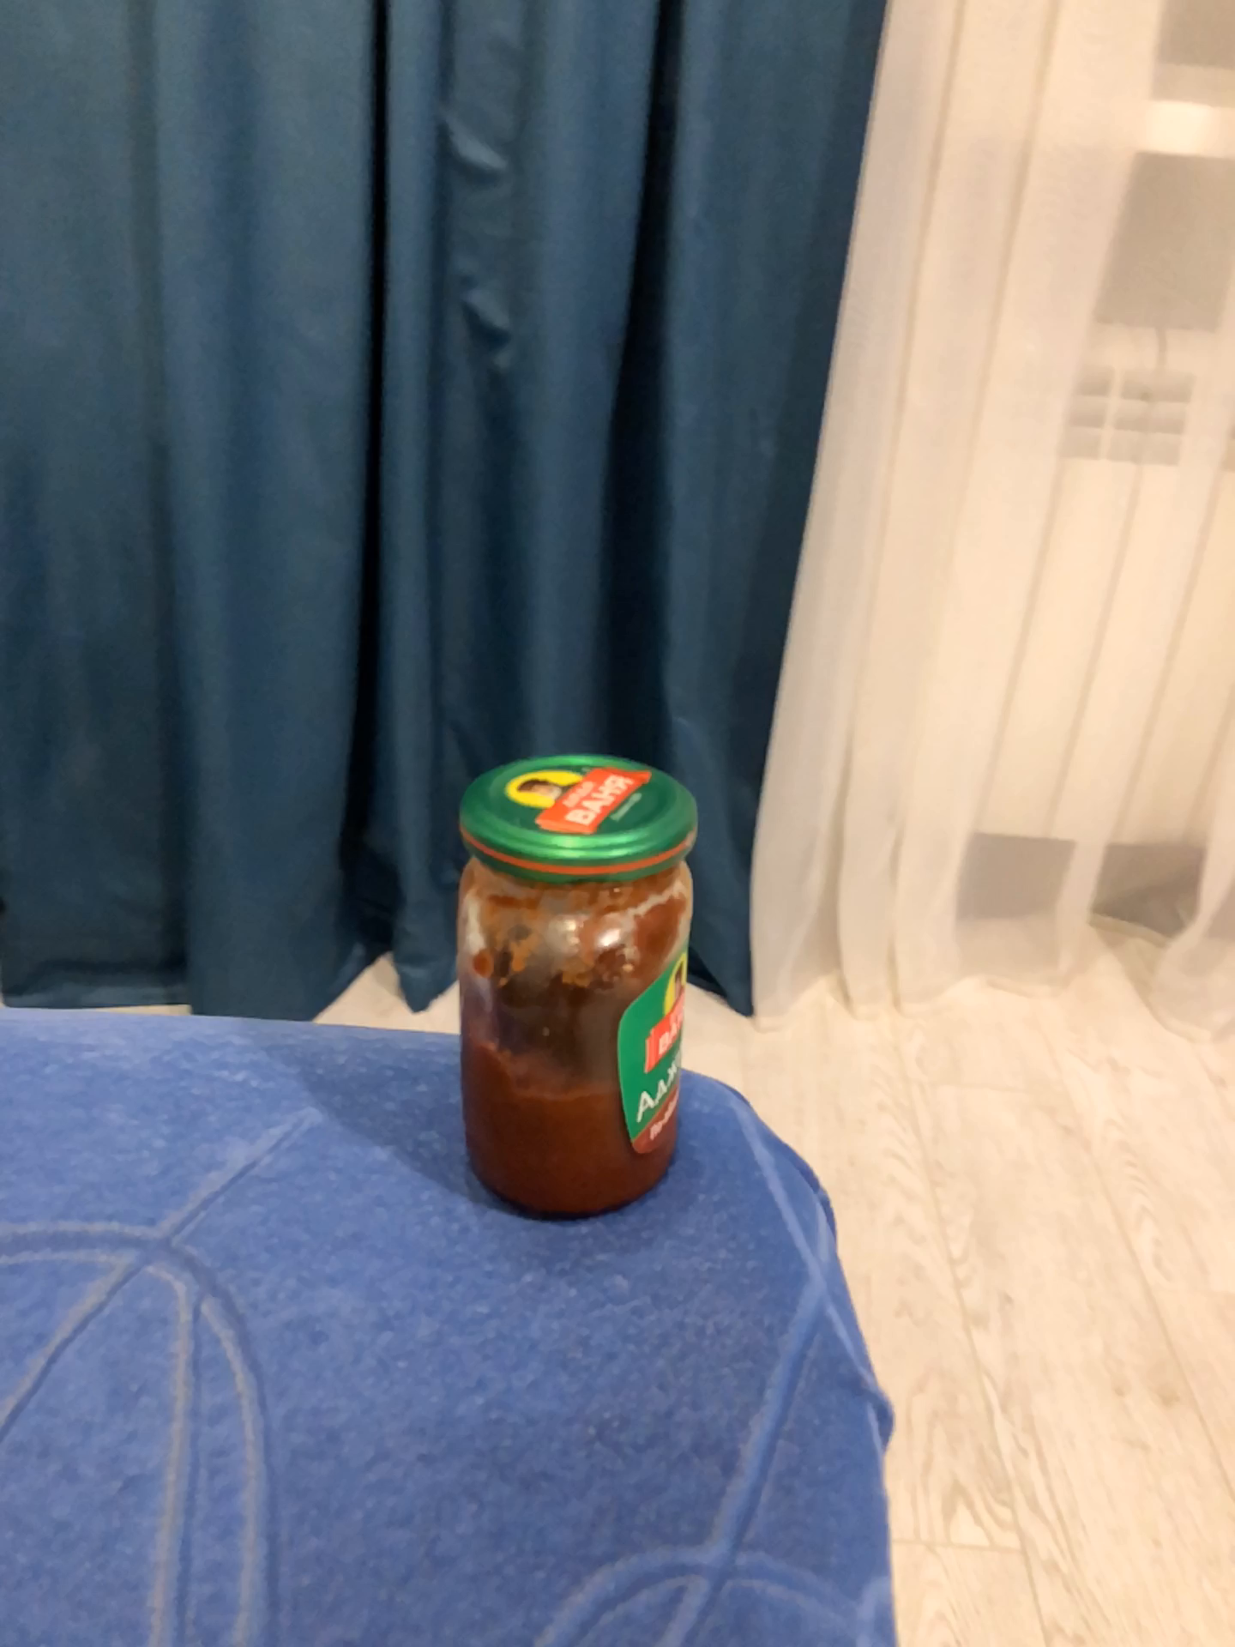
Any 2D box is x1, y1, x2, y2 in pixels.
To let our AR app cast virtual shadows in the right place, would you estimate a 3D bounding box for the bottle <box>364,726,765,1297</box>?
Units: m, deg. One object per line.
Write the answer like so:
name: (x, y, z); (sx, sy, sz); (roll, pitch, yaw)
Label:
bottle: (-0.009, 0.037, 0.292); (0.060, 0.092, 0.060); (1, 25, 0)
